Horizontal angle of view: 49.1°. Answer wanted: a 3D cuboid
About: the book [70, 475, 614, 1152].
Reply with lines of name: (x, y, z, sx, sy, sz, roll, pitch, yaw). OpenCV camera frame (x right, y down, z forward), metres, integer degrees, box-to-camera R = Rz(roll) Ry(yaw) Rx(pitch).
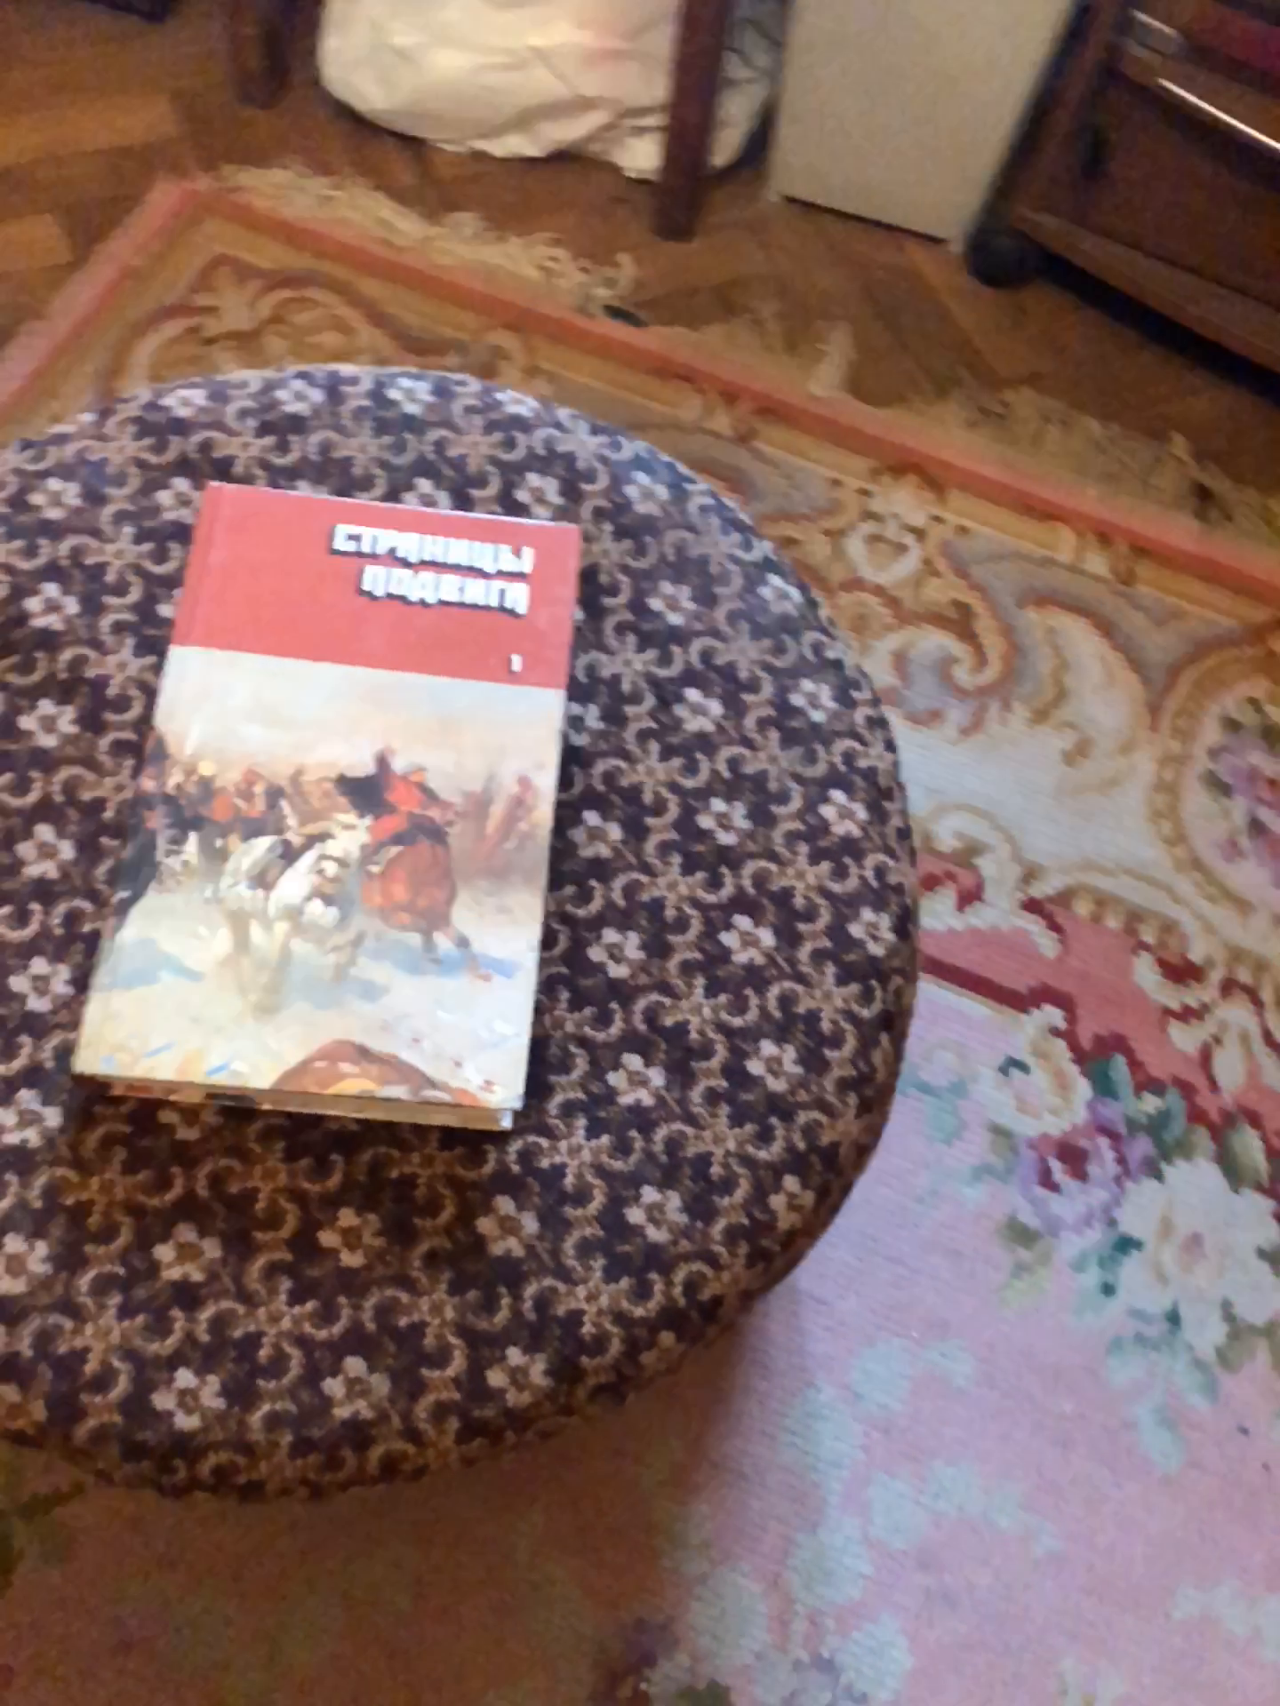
book: (-0.085, -0.017, 0.450, 0.134, 0.040, 0.206, 6, 67, -4)
